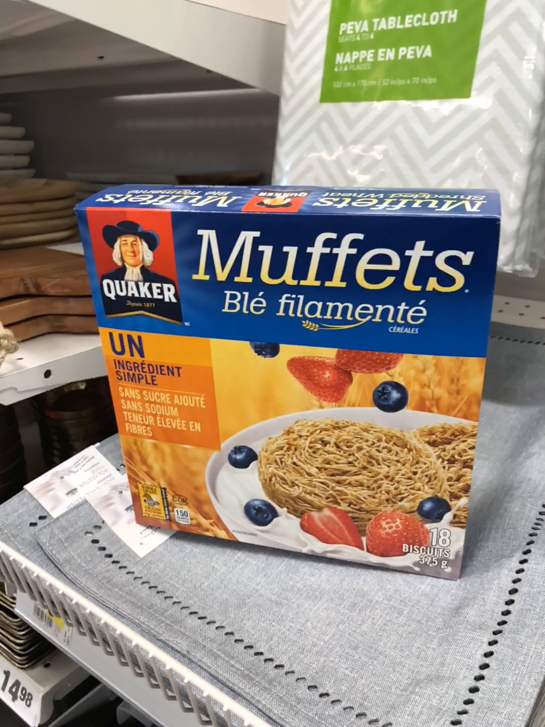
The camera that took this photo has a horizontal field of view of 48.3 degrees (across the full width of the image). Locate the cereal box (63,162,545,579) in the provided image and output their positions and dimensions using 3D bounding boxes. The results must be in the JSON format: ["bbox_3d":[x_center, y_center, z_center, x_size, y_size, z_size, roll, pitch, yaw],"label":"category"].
[{"bbox_3d":[0.017,0.000,0.375,0.250,0.229,0.060,6,28,18],"label":"cereal box"}]
